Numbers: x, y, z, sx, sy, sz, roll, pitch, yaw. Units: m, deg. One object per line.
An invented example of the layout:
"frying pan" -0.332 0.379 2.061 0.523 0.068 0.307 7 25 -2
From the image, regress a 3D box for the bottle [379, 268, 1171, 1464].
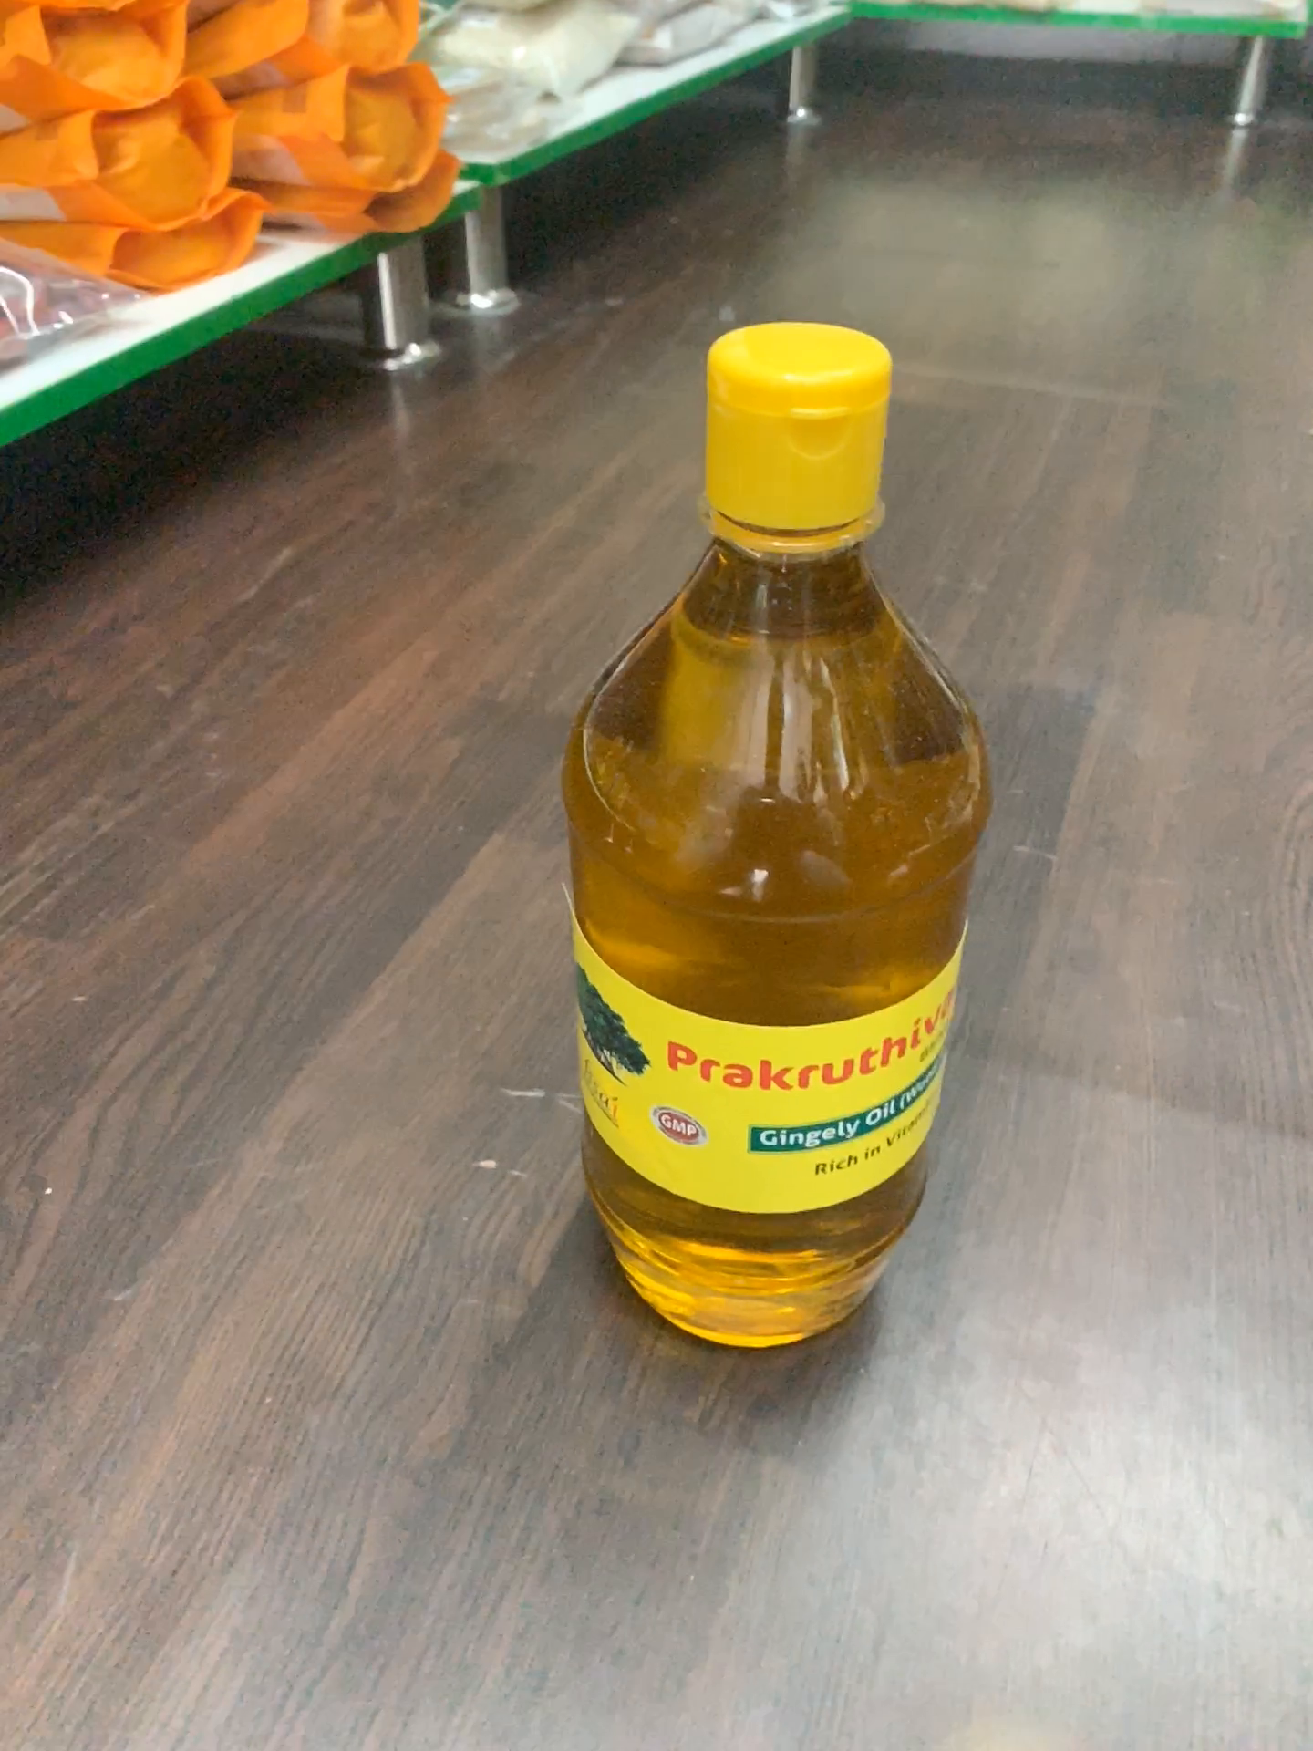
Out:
"bottle" 0.020 0.006 0.285 0.090 0.219 0.090 0 38 0
